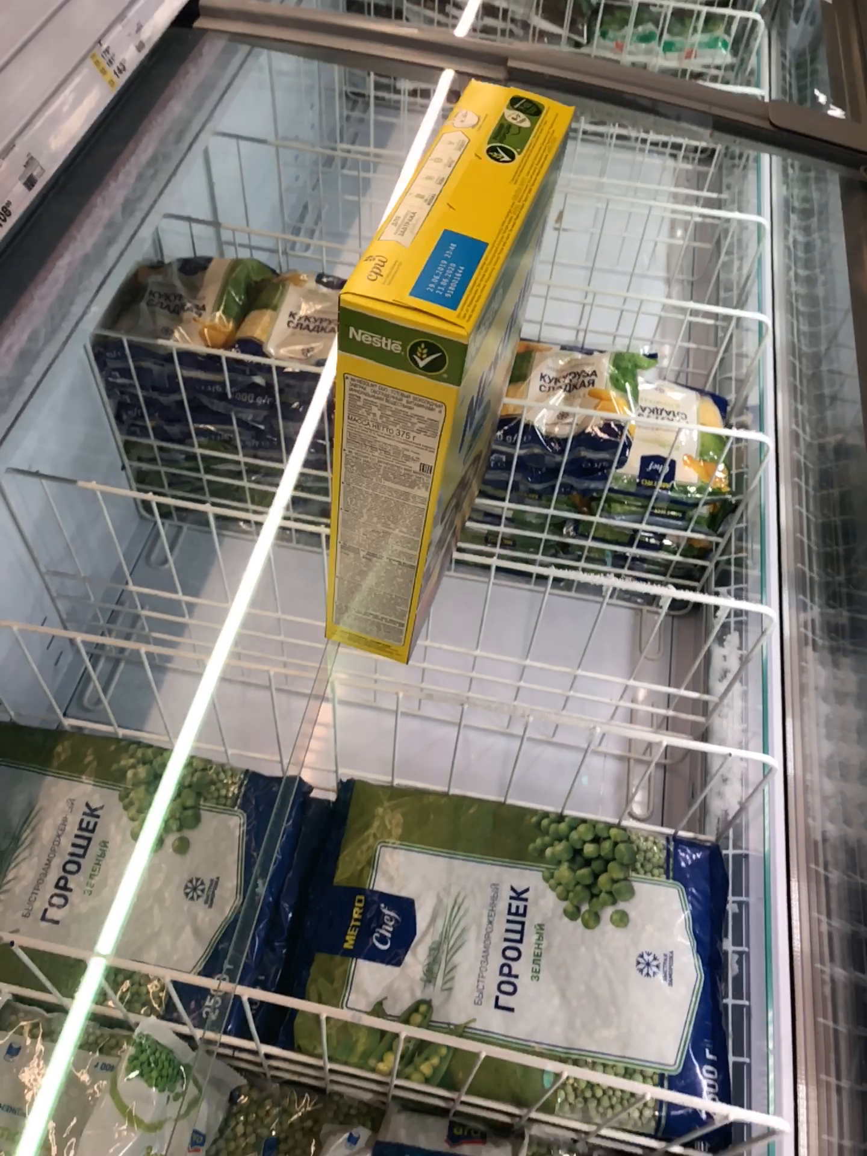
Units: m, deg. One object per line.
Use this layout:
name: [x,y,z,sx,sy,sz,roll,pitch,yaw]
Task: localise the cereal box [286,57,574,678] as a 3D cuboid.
cereal box: [-0.007,-0.103,0.545,0.070,0.278,0.201,18,56,6]
